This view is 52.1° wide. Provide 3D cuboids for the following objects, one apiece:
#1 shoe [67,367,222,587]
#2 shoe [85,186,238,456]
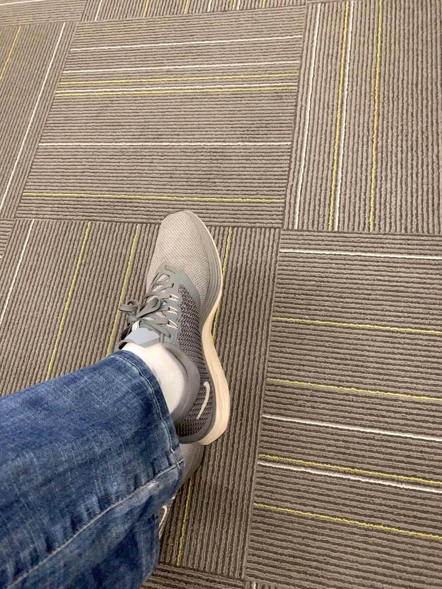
[{"bbox_3d":[-0.119,0.314,0.819,0.124,0.180,0.310,13,72,17],"label":"shoe"},{"bbox_3d":[-0.074,0.038,0.570,0.127,0.115,0.298,-24,58,36],"label":"shoe"}]
